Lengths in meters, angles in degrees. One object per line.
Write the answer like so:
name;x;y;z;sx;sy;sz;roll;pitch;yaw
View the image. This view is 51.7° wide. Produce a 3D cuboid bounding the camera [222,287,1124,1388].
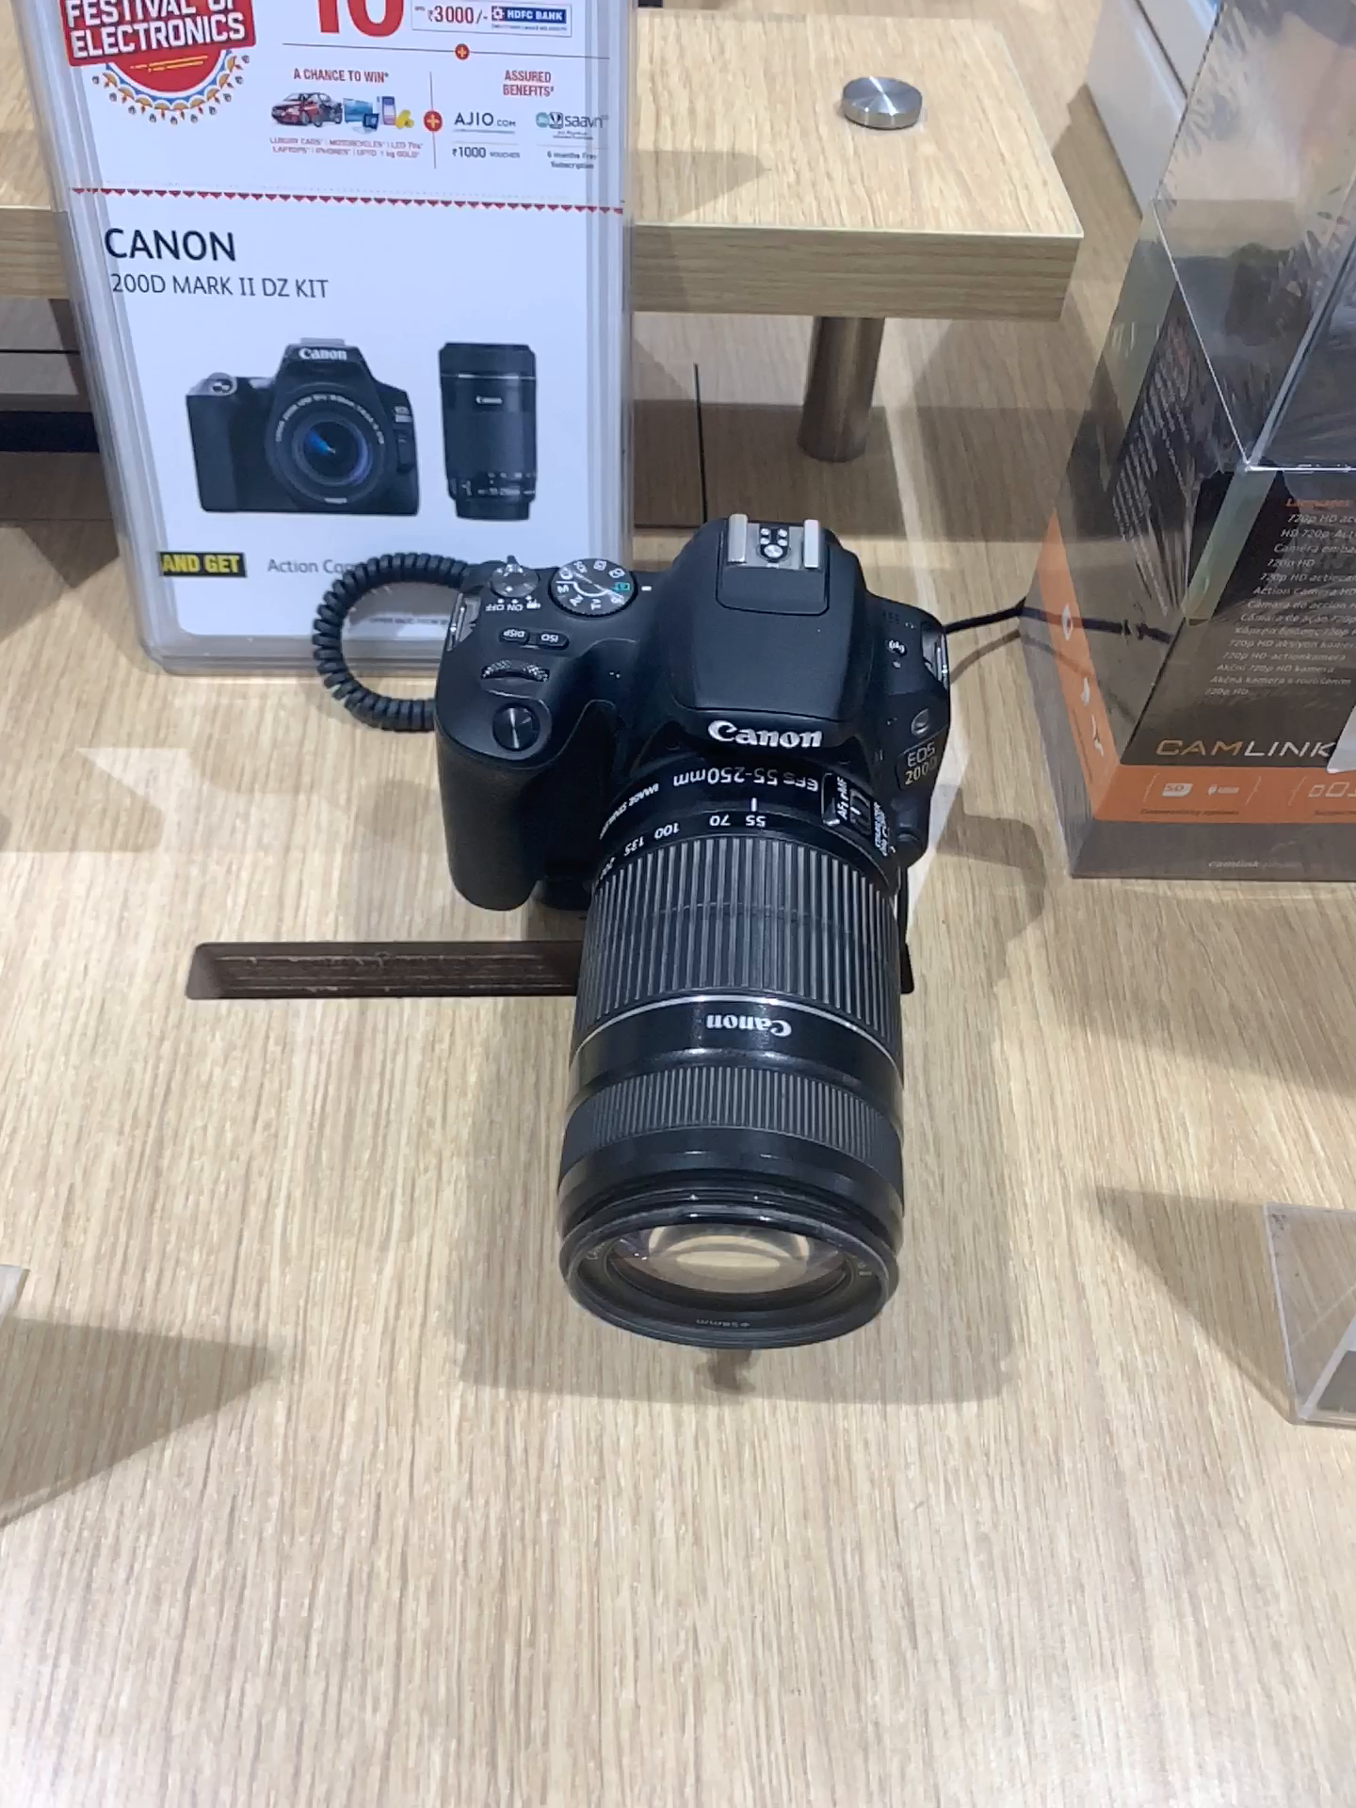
camera;0.001;-0.021;0.285;0.120;0.100;0.200;3;54;-1
